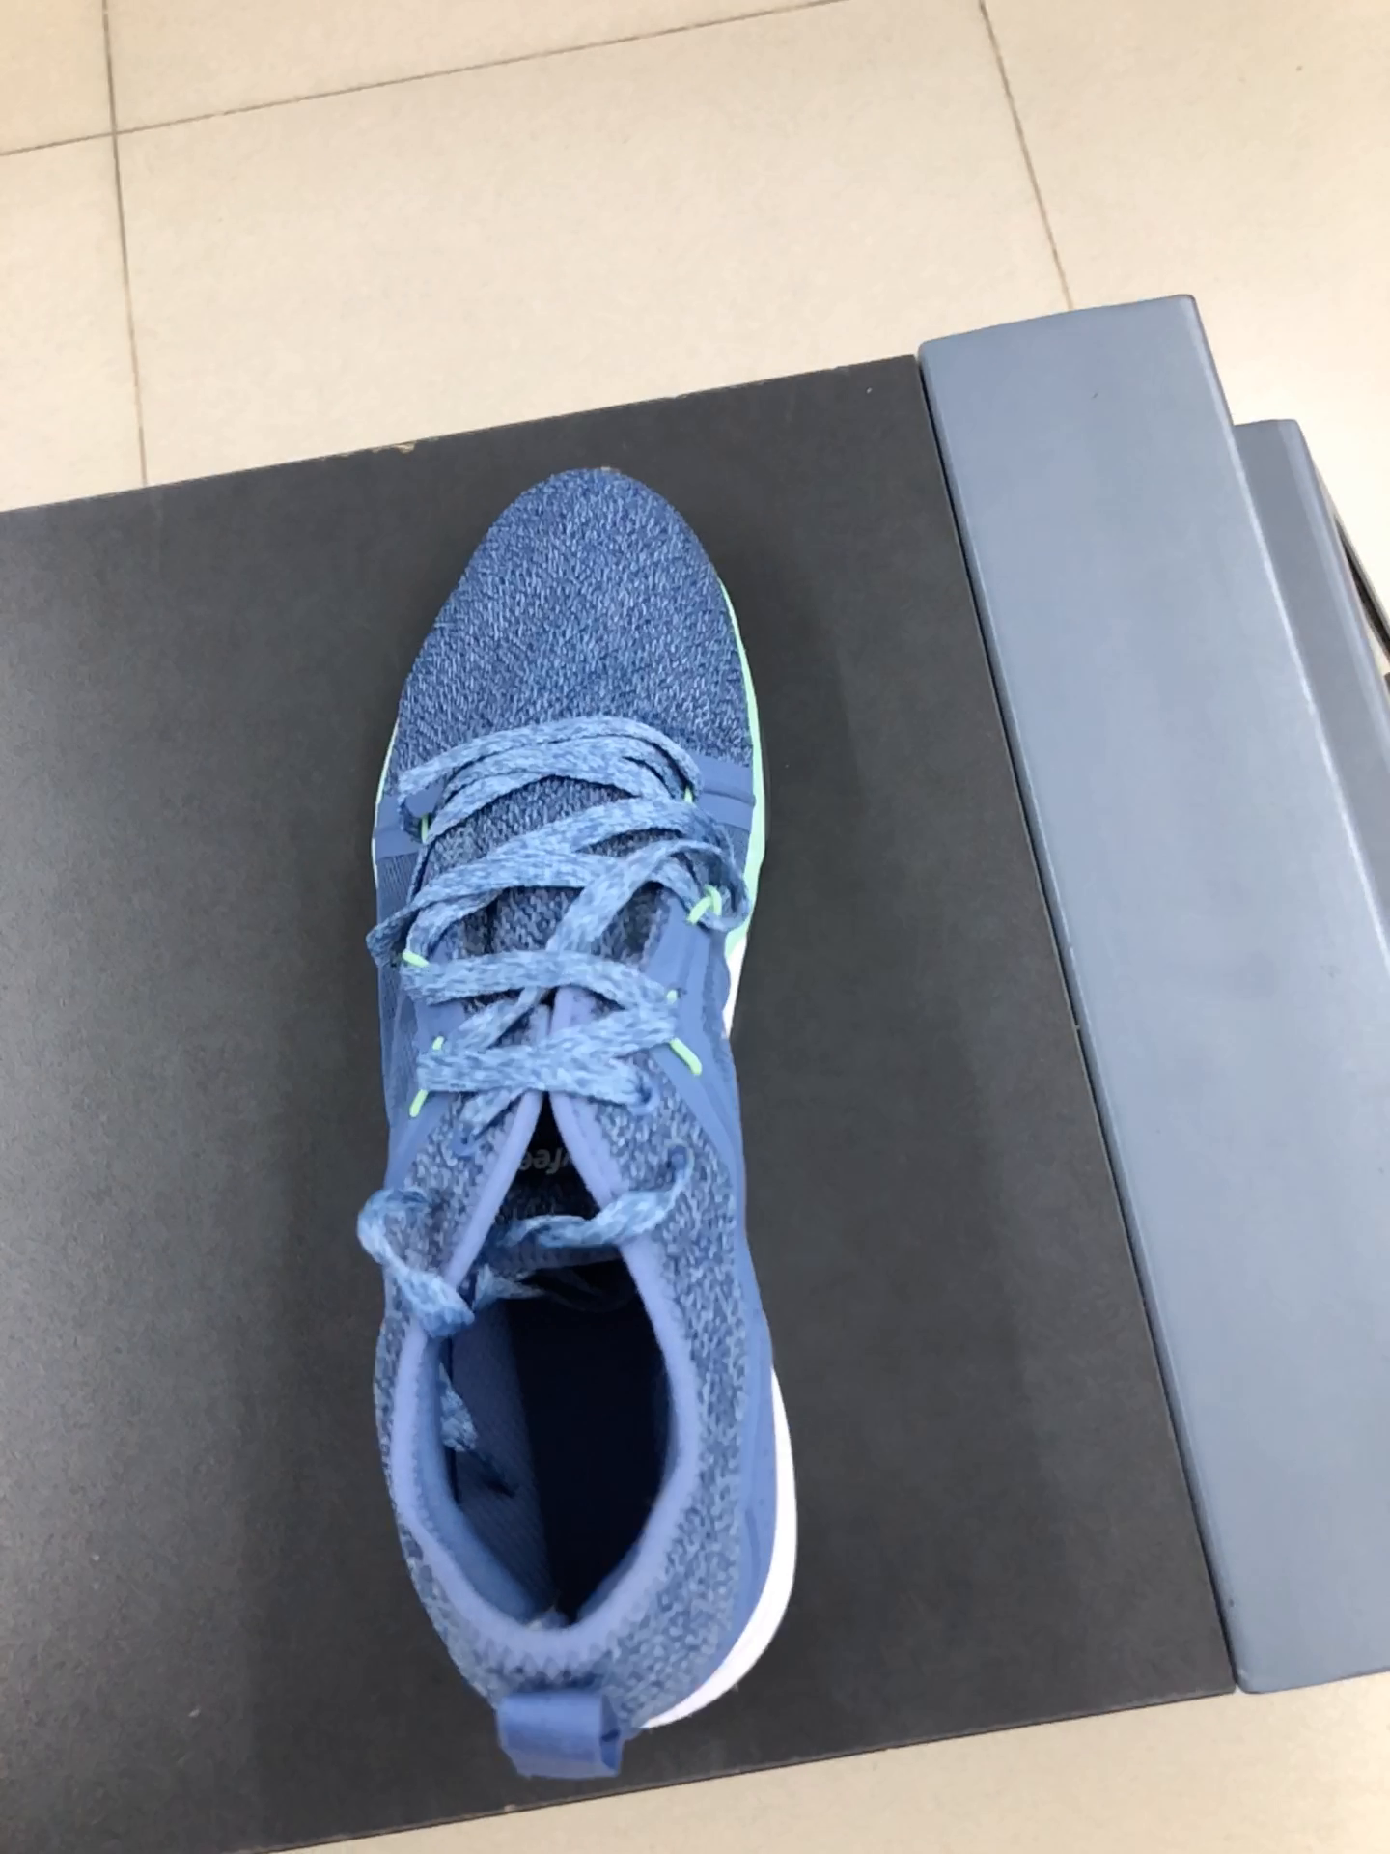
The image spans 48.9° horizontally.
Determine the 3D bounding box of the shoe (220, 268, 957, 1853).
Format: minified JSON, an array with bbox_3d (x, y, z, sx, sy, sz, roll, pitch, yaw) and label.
[{"bbox_3d":[-0.027,0.019,0.305,0.100,0.080,0.280,-8,73,1],"label":"shoe"}]
